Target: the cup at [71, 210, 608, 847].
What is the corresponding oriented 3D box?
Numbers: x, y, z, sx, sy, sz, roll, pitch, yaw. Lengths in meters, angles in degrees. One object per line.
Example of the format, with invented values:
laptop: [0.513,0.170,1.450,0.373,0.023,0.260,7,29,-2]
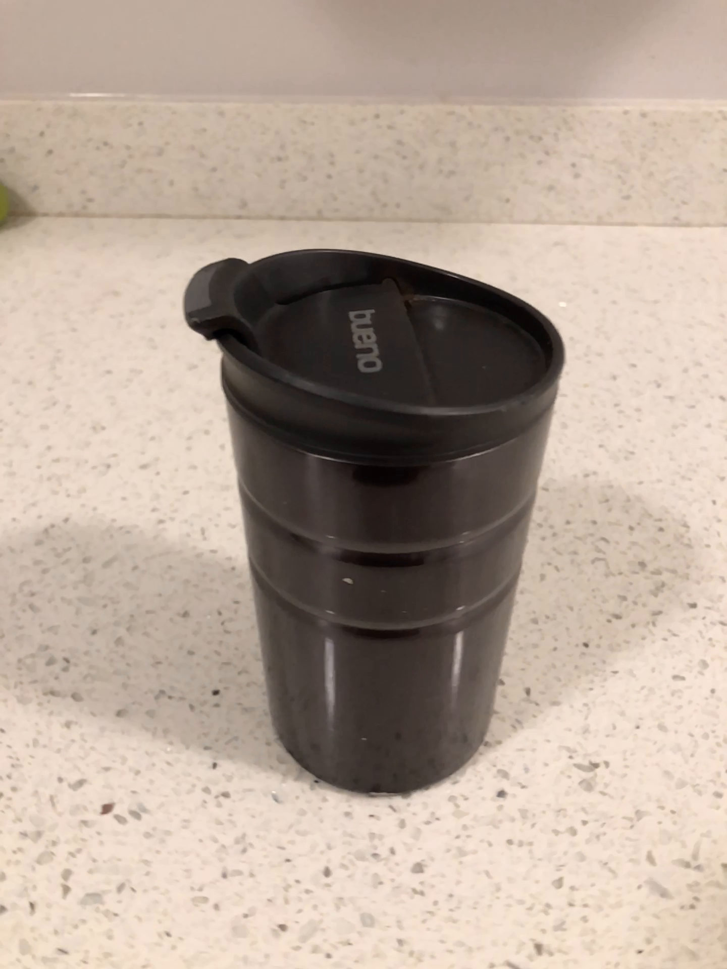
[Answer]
cup: [0.001,0.007,0.208,0.085,0.116,0.086,0,37,0]
